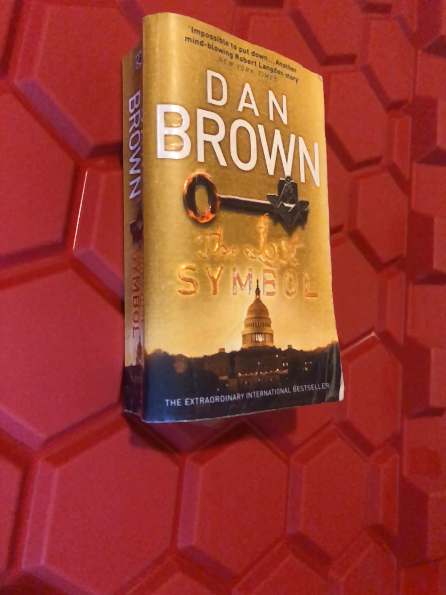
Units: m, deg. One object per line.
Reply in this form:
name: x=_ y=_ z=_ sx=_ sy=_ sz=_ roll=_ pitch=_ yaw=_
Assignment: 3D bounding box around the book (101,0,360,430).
book: x=0.006 y=-0.036 z=0.257 sx=0.123 sy=0.050 sz=0.183 roll=2 pitch=84 yaw=-37
